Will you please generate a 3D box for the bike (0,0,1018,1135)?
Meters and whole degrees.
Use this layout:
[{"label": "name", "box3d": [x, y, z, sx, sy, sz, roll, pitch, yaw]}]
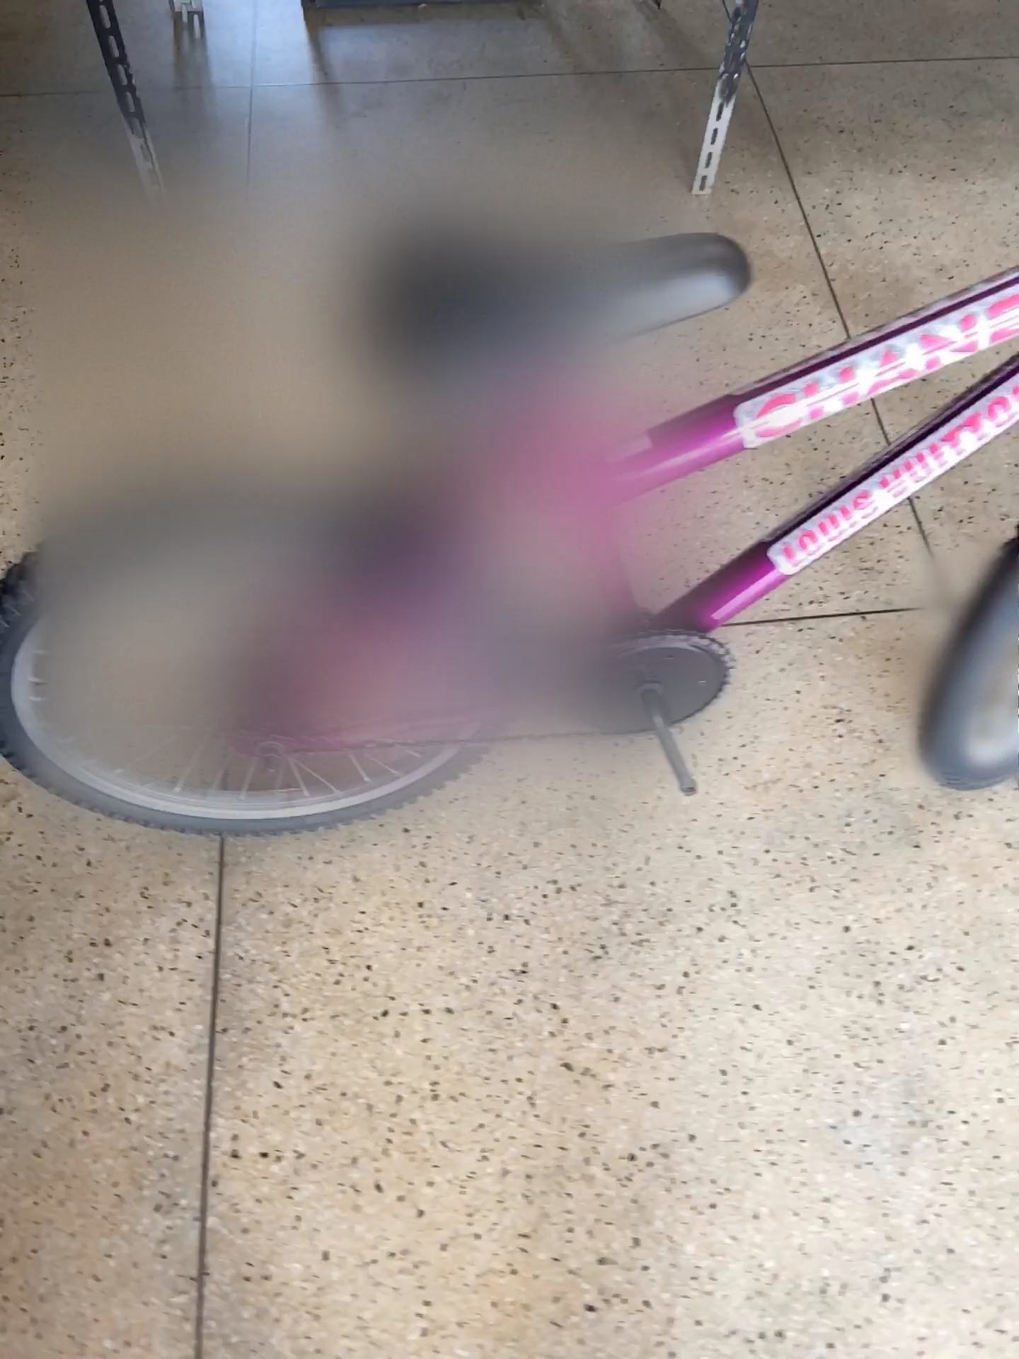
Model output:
[{"label": "bike", "box3d": [0.151, -0.181, 0.865, 1.262, 0.935, 0.617, -11, 60, -8]}]
